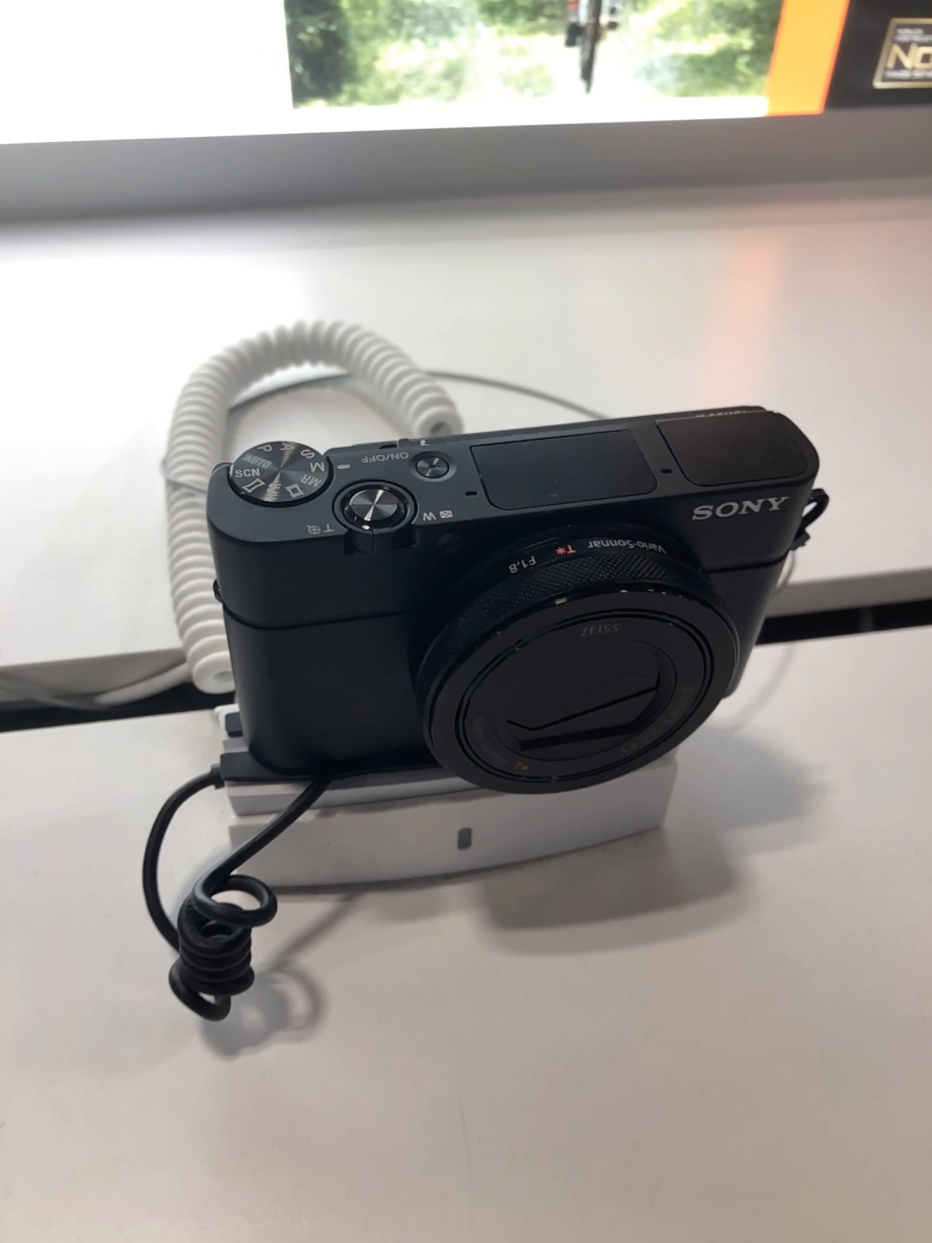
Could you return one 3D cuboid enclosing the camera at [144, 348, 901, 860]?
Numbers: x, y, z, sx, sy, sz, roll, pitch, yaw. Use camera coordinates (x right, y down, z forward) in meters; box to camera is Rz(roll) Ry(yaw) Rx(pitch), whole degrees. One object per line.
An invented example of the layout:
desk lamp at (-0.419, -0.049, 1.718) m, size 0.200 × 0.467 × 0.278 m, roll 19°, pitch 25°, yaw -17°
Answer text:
camera at (0.006, -0.003, 0.186) m, size 0.110 × 0.070 × 0.040 m, roll -7°, pitch 45°, yaw -10°
